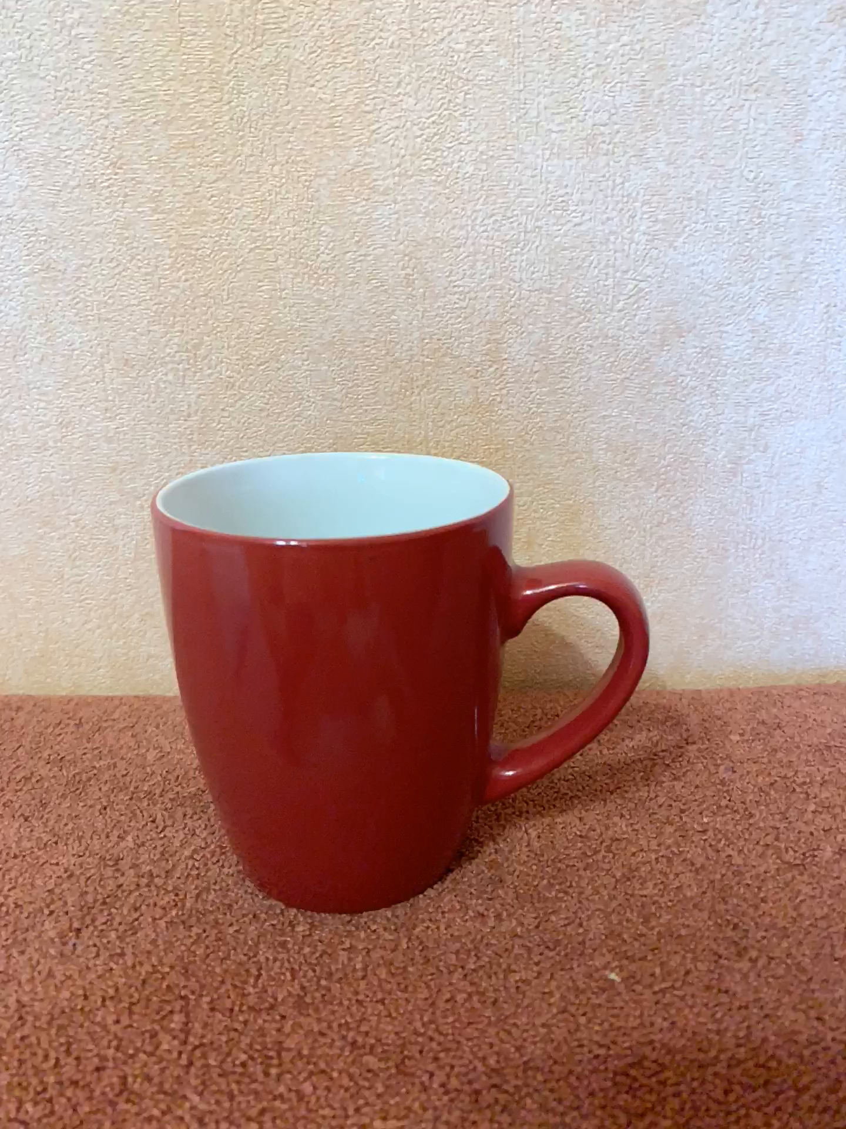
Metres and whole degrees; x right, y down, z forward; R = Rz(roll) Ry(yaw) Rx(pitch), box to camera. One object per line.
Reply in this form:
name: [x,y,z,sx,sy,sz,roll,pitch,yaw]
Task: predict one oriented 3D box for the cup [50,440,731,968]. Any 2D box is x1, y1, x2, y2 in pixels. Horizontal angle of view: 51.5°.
cup: [-0.003,0.025,0.209,0.121,0.091,0.083,0,20,6]
